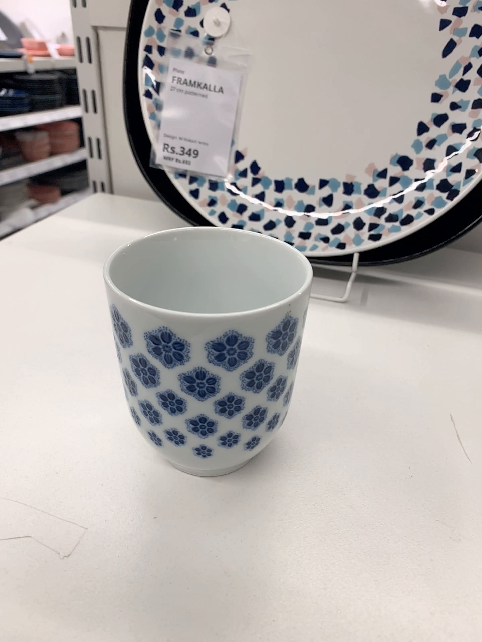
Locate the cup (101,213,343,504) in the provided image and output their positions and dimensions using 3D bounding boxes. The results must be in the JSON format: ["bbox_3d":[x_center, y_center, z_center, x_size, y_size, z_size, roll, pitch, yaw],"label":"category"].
[{"bbox_3d":[-0.013,0.009,0.198,0.070,0.080,0.080,-2,30,-10],"label":"cup"}]
